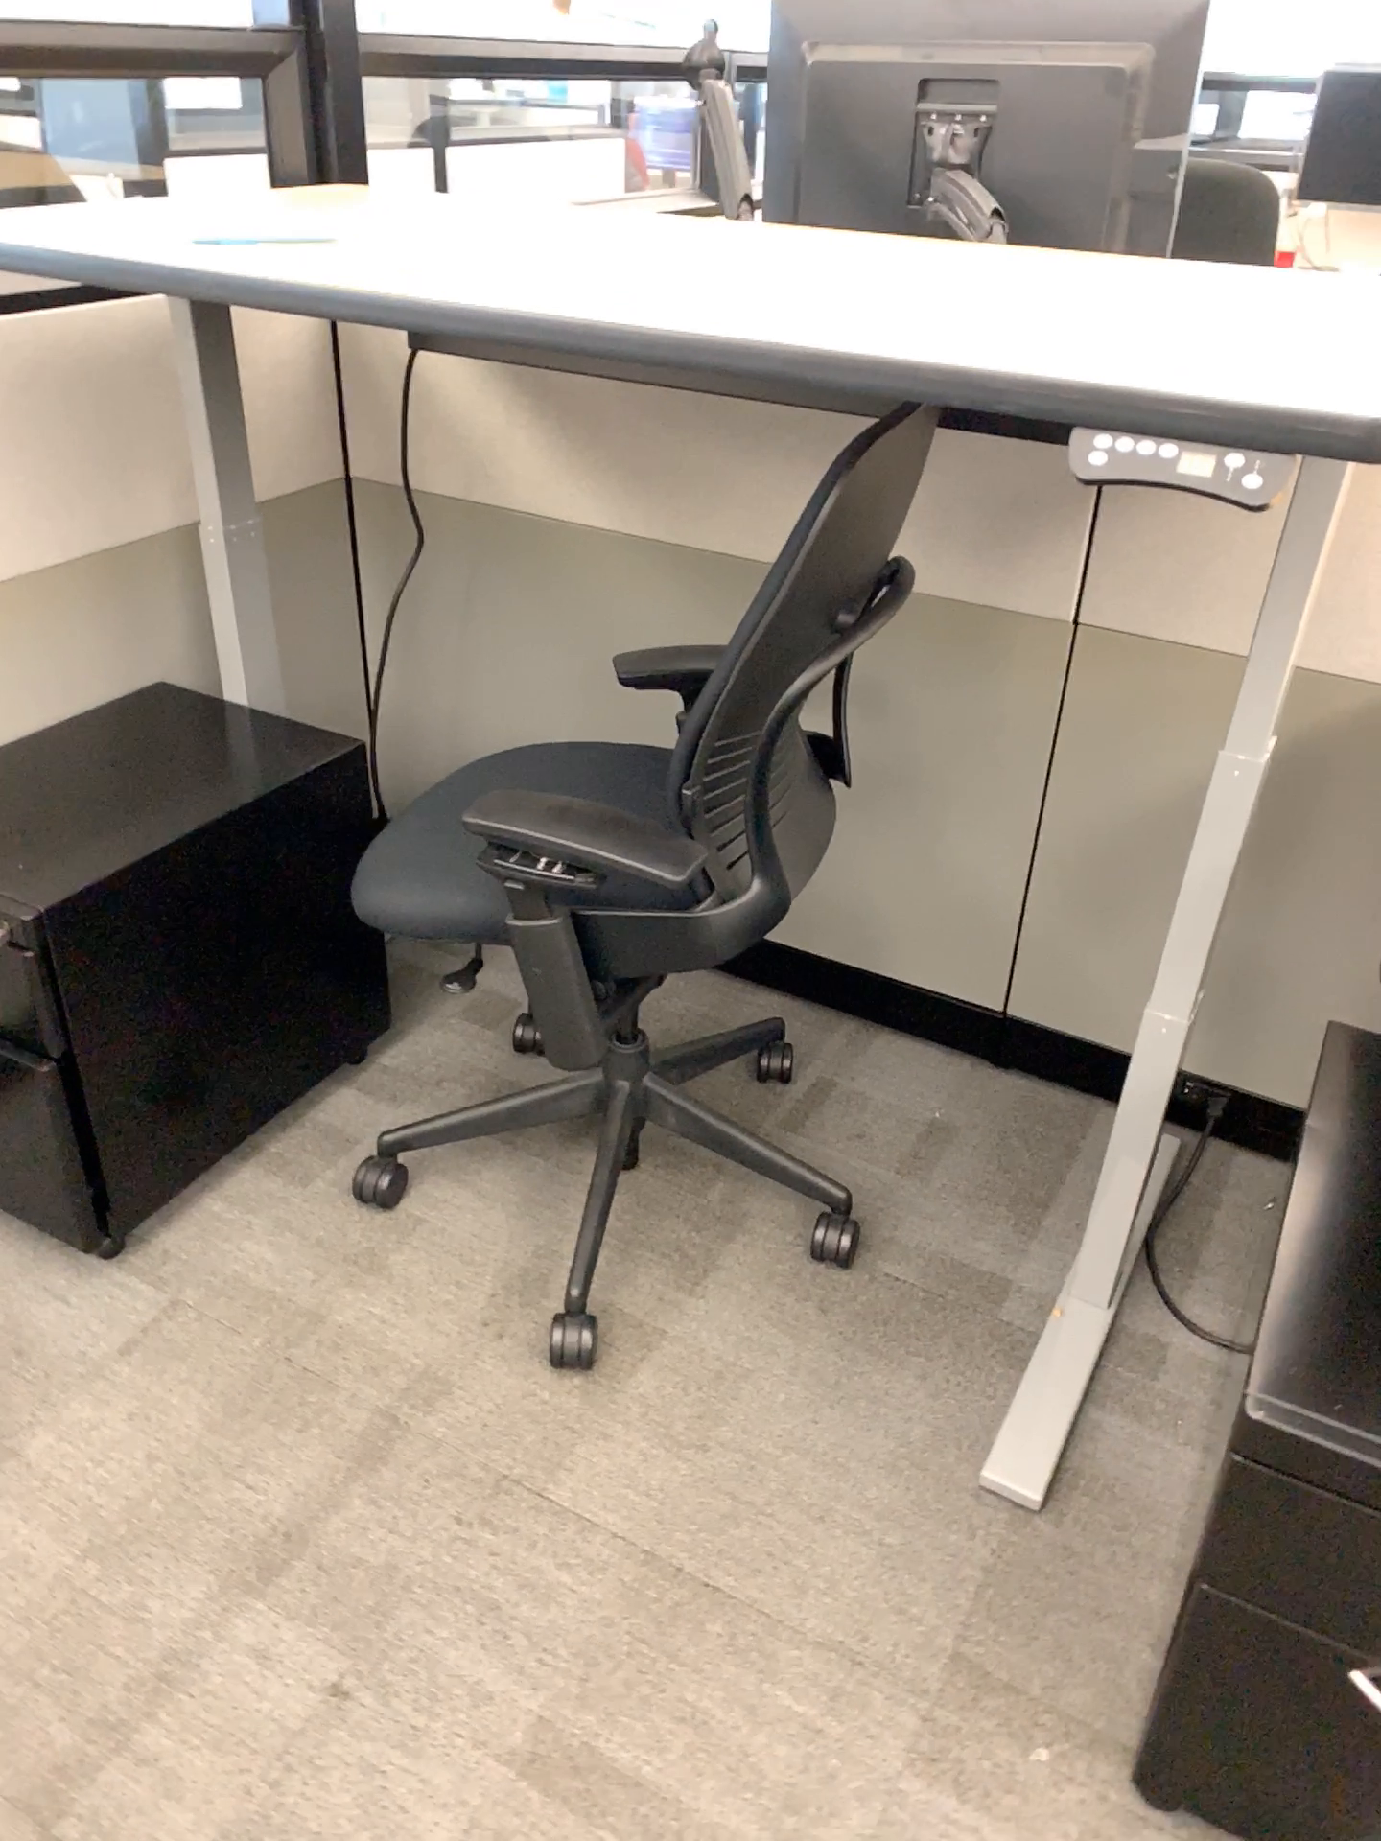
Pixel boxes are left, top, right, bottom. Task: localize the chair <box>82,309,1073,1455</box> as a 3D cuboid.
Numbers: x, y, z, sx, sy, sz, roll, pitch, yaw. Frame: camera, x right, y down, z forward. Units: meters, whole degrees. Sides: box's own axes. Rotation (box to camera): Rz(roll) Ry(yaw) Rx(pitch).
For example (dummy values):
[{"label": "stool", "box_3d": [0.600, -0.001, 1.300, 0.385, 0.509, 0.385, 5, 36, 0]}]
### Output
[{"label": "chair", "box_3d": [-0.059, -0.109, 1.644, 0.761, 0.954, 0.784, 12, 32, 12]}]
